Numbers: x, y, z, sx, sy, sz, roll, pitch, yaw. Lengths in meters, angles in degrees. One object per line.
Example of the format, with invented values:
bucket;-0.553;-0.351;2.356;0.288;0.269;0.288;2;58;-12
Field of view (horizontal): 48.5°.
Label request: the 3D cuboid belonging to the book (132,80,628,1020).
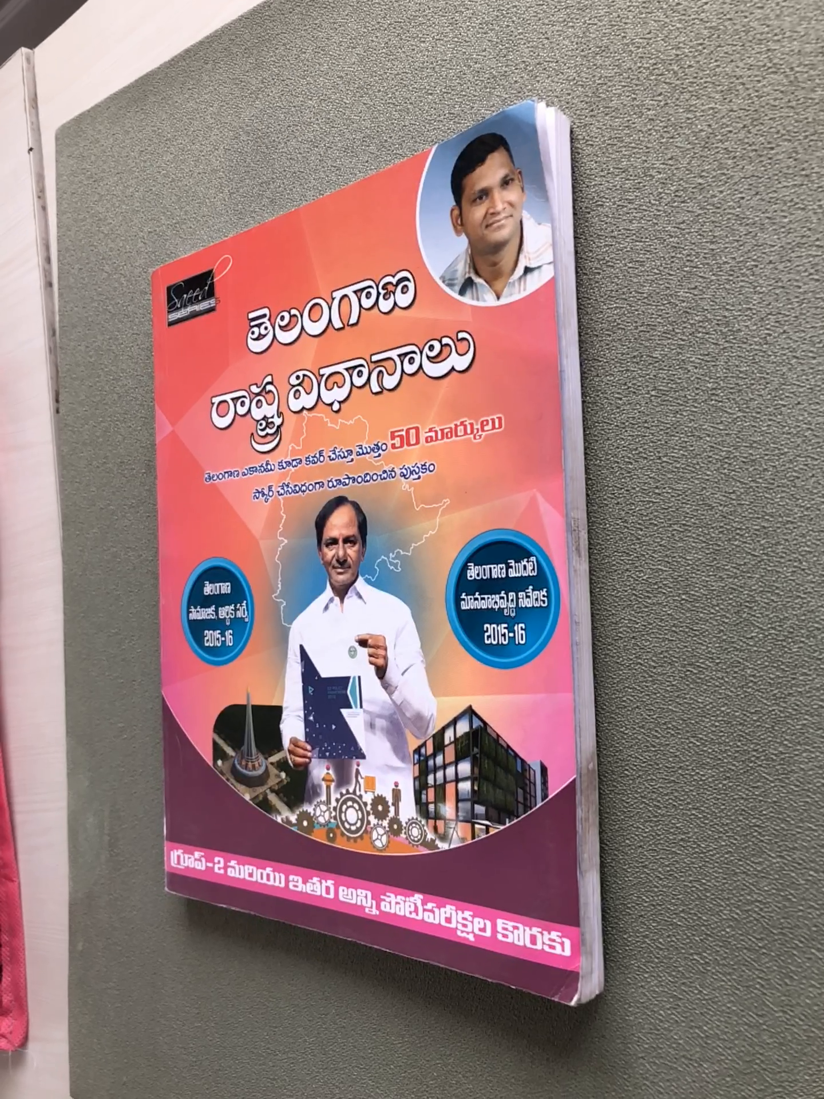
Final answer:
book;-0.025;0.003;0.310;0.181;0.030;0.250;-5;86;37
